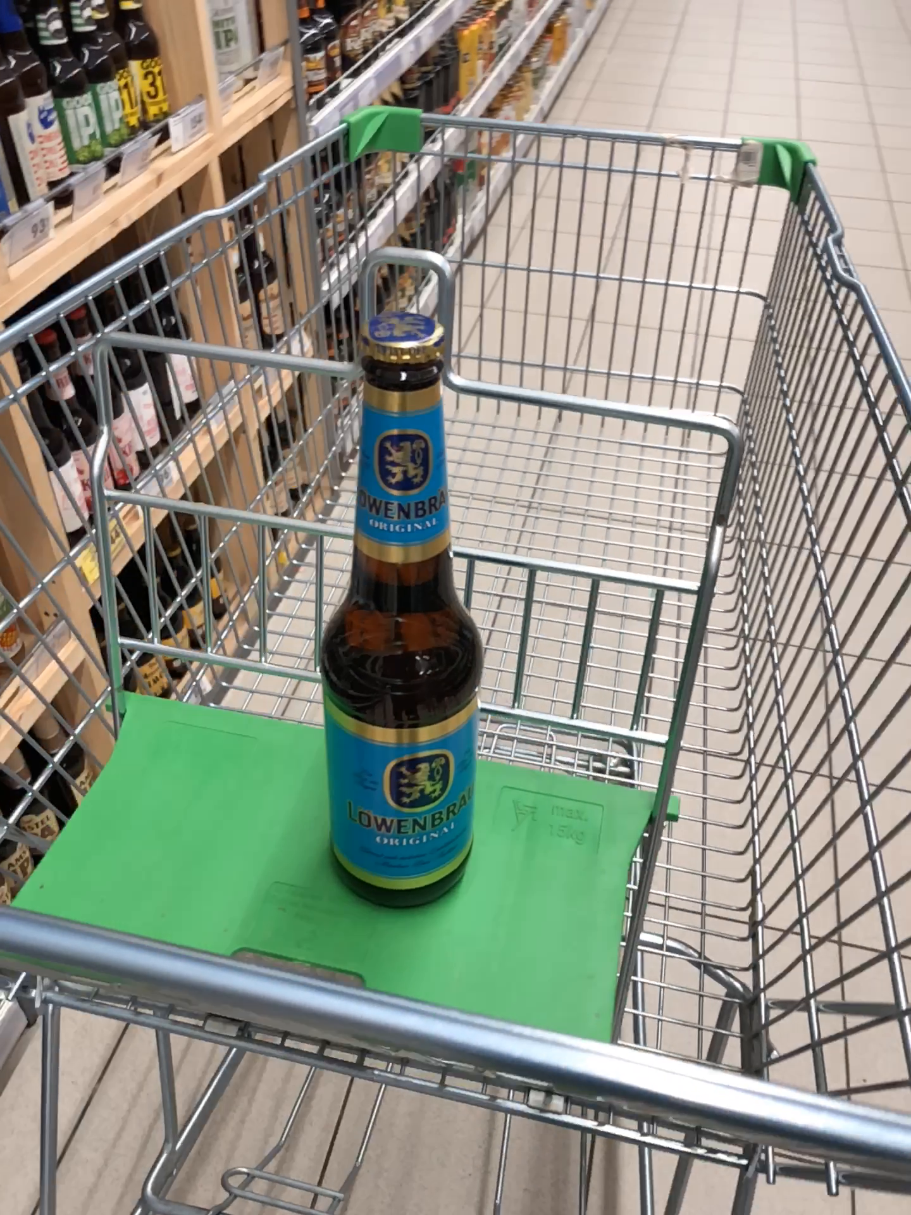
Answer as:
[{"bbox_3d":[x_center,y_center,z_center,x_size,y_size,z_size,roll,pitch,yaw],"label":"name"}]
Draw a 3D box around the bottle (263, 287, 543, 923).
[{"bbox_3d":[-0.020,0.013,0.389,0.080,0.249,0.070,-5,38,-7],"label":"bottle"}]
